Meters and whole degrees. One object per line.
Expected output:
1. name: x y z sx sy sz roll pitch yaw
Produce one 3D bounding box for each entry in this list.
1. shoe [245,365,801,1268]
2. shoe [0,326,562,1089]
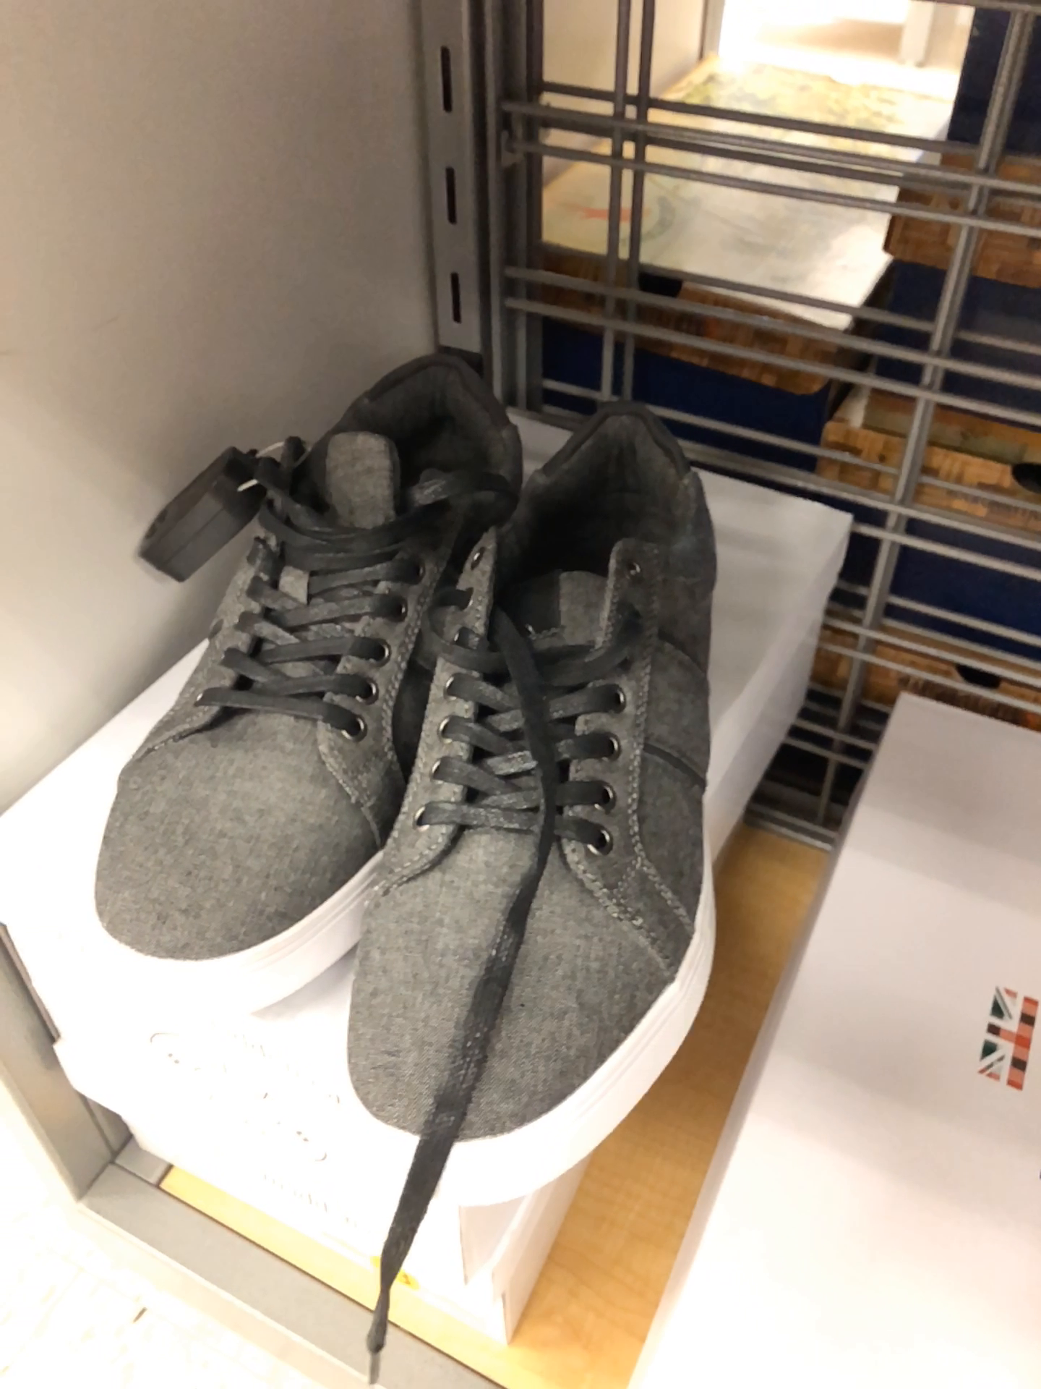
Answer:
1. shoe: 0.022 0.011 0.365 0.107 0.099 0.272 8 44 9
2. shoe: -0.069 -0.018 0.405 0.107 0.099 0.262 10 44 11
